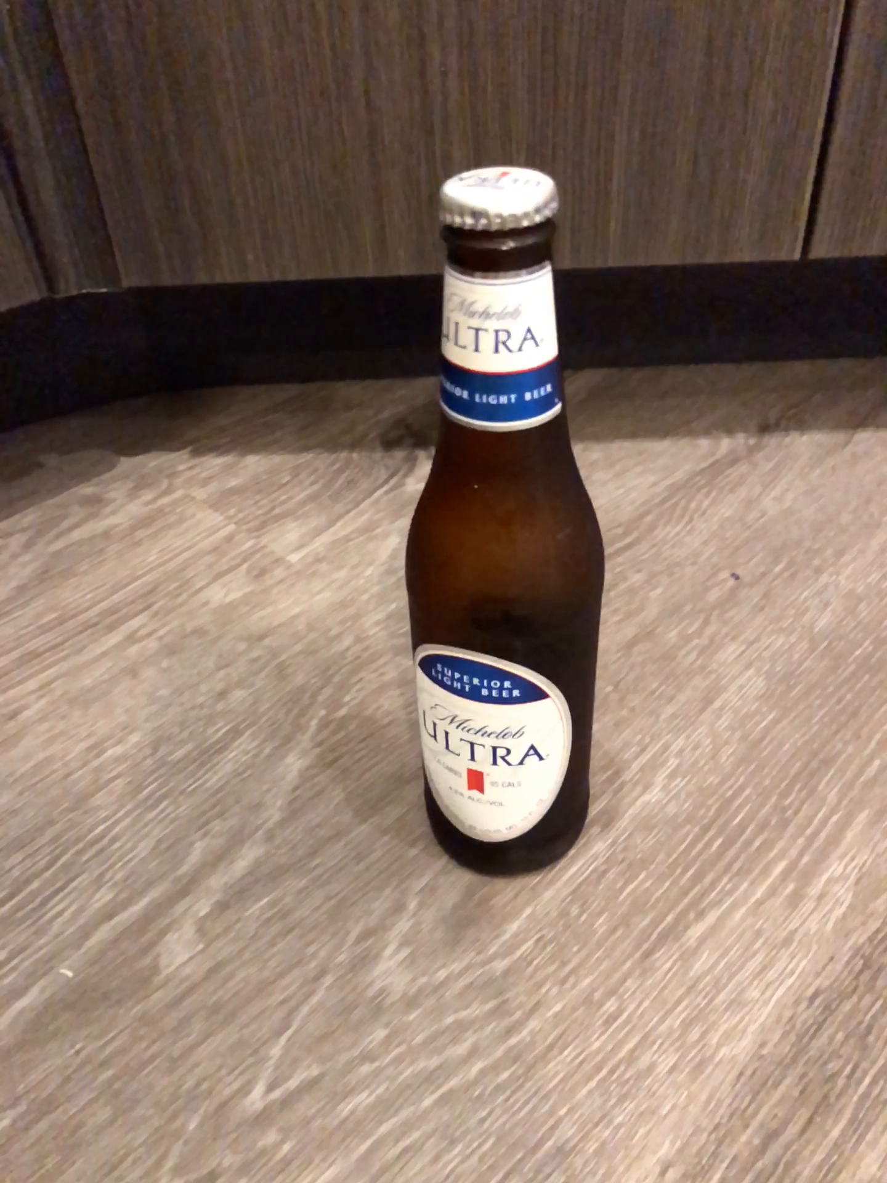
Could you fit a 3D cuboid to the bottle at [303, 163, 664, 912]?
[{"bbox_3d":[0.016,-0.003,0.287,0.060,0.209,0.060,-2,38,2],"label":"bottle"}]
